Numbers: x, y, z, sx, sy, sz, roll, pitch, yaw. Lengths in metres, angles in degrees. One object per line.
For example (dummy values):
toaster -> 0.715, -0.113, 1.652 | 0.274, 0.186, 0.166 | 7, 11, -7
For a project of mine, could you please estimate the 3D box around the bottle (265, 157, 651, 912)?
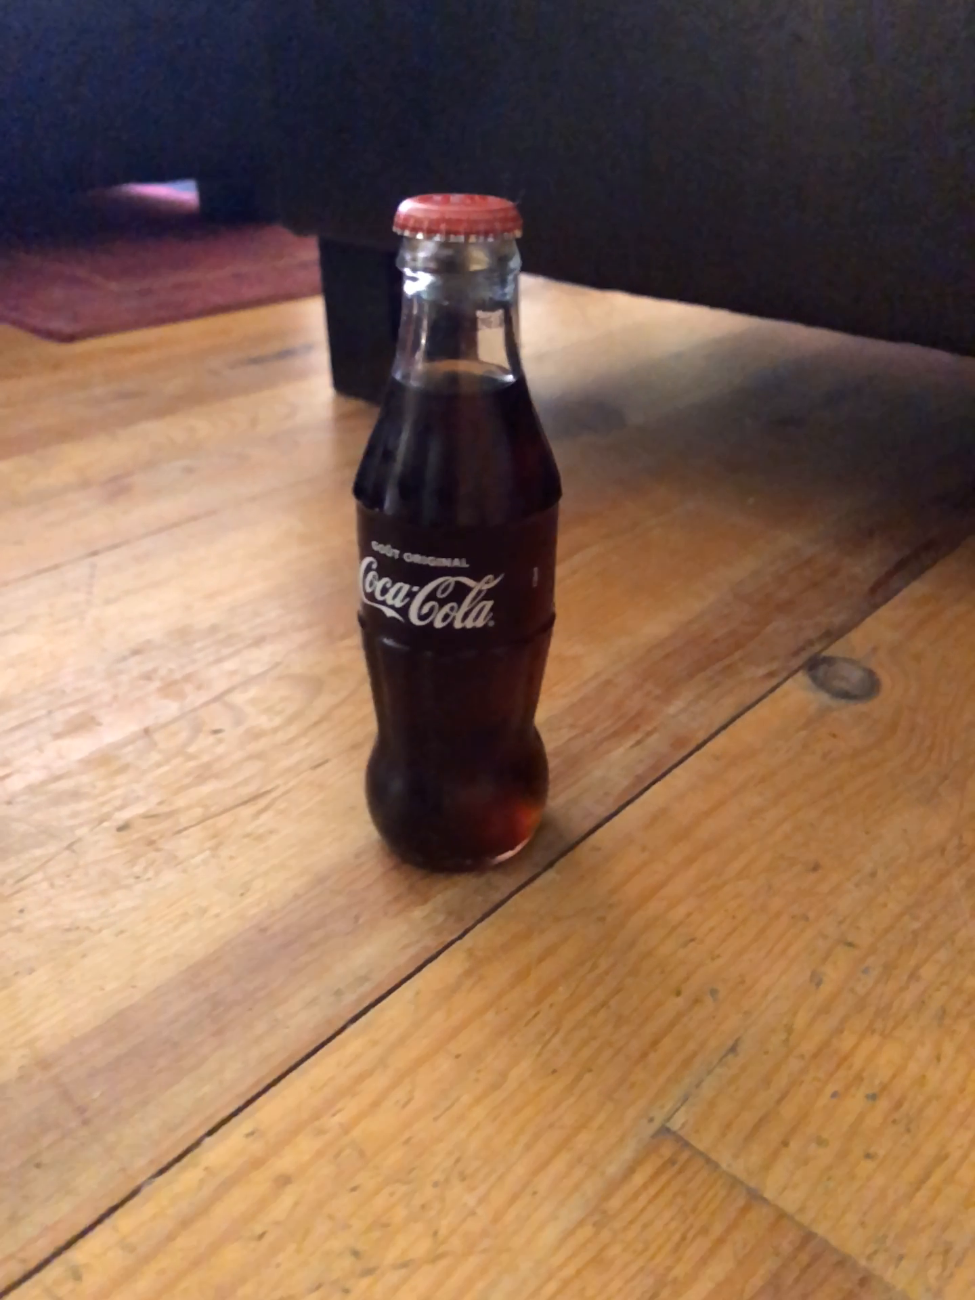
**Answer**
bottle -> -0.005, -0.027, 0.272 | 0.060, 0.169, 0.060 | 0, 29, 0
